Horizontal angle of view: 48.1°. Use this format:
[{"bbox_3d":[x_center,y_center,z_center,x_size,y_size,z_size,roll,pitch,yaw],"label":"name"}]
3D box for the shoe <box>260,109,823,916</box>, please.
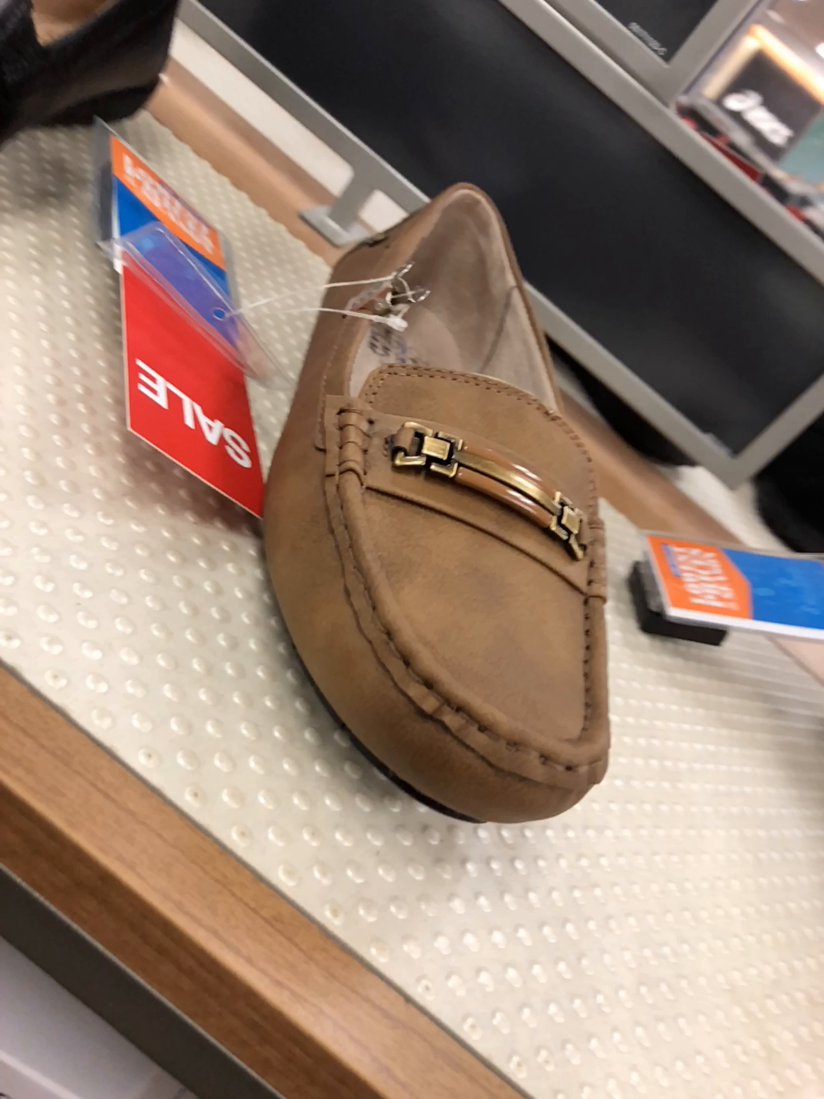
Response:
[{"bbox_3d":[0.015,-0.033,0.268,0.087,0.079,0.236,25,32,-27],"label":"shoe"}]
